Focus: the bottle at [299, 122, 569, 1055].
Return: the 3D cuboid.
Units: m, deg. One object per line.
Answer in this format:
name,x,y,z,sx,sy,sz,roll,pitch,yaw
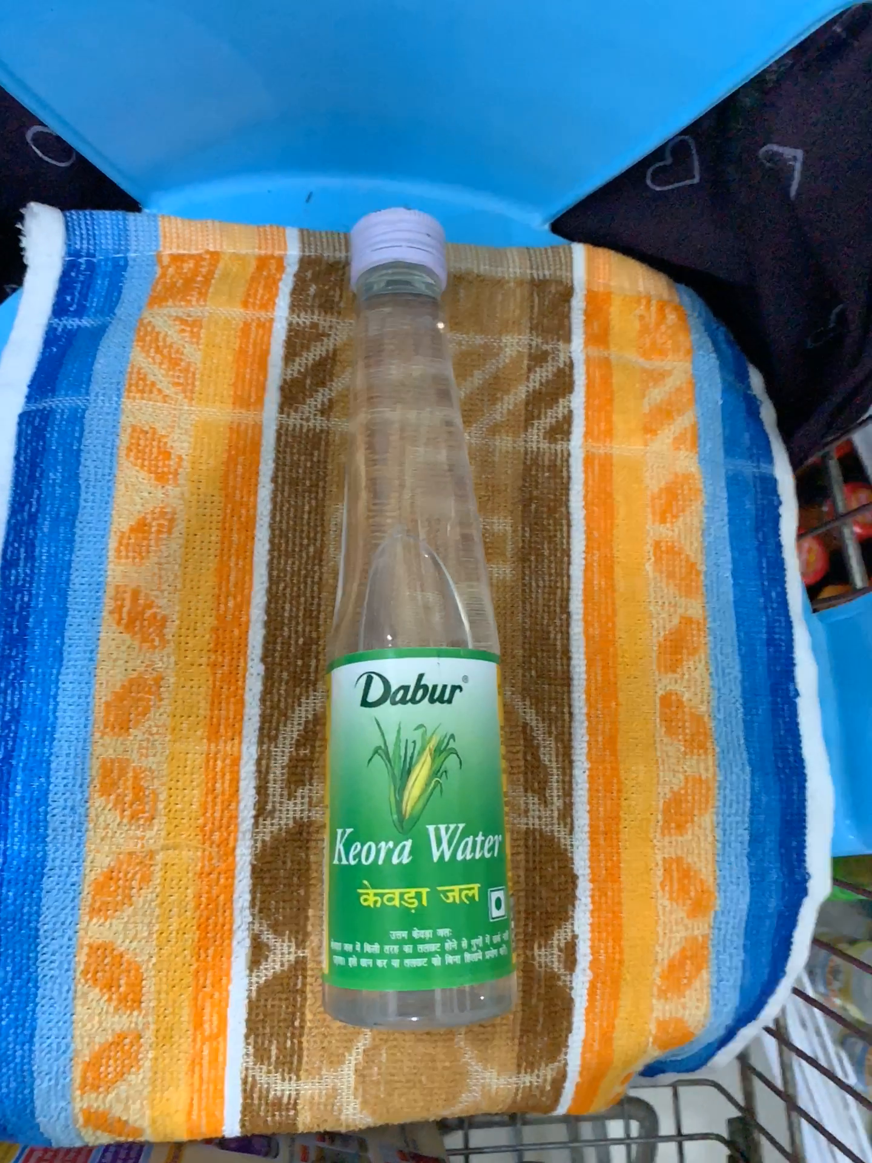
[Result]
bottle,-0.005,-0.003,0.219,0.050,0.050,0.200,-2,81,-6
